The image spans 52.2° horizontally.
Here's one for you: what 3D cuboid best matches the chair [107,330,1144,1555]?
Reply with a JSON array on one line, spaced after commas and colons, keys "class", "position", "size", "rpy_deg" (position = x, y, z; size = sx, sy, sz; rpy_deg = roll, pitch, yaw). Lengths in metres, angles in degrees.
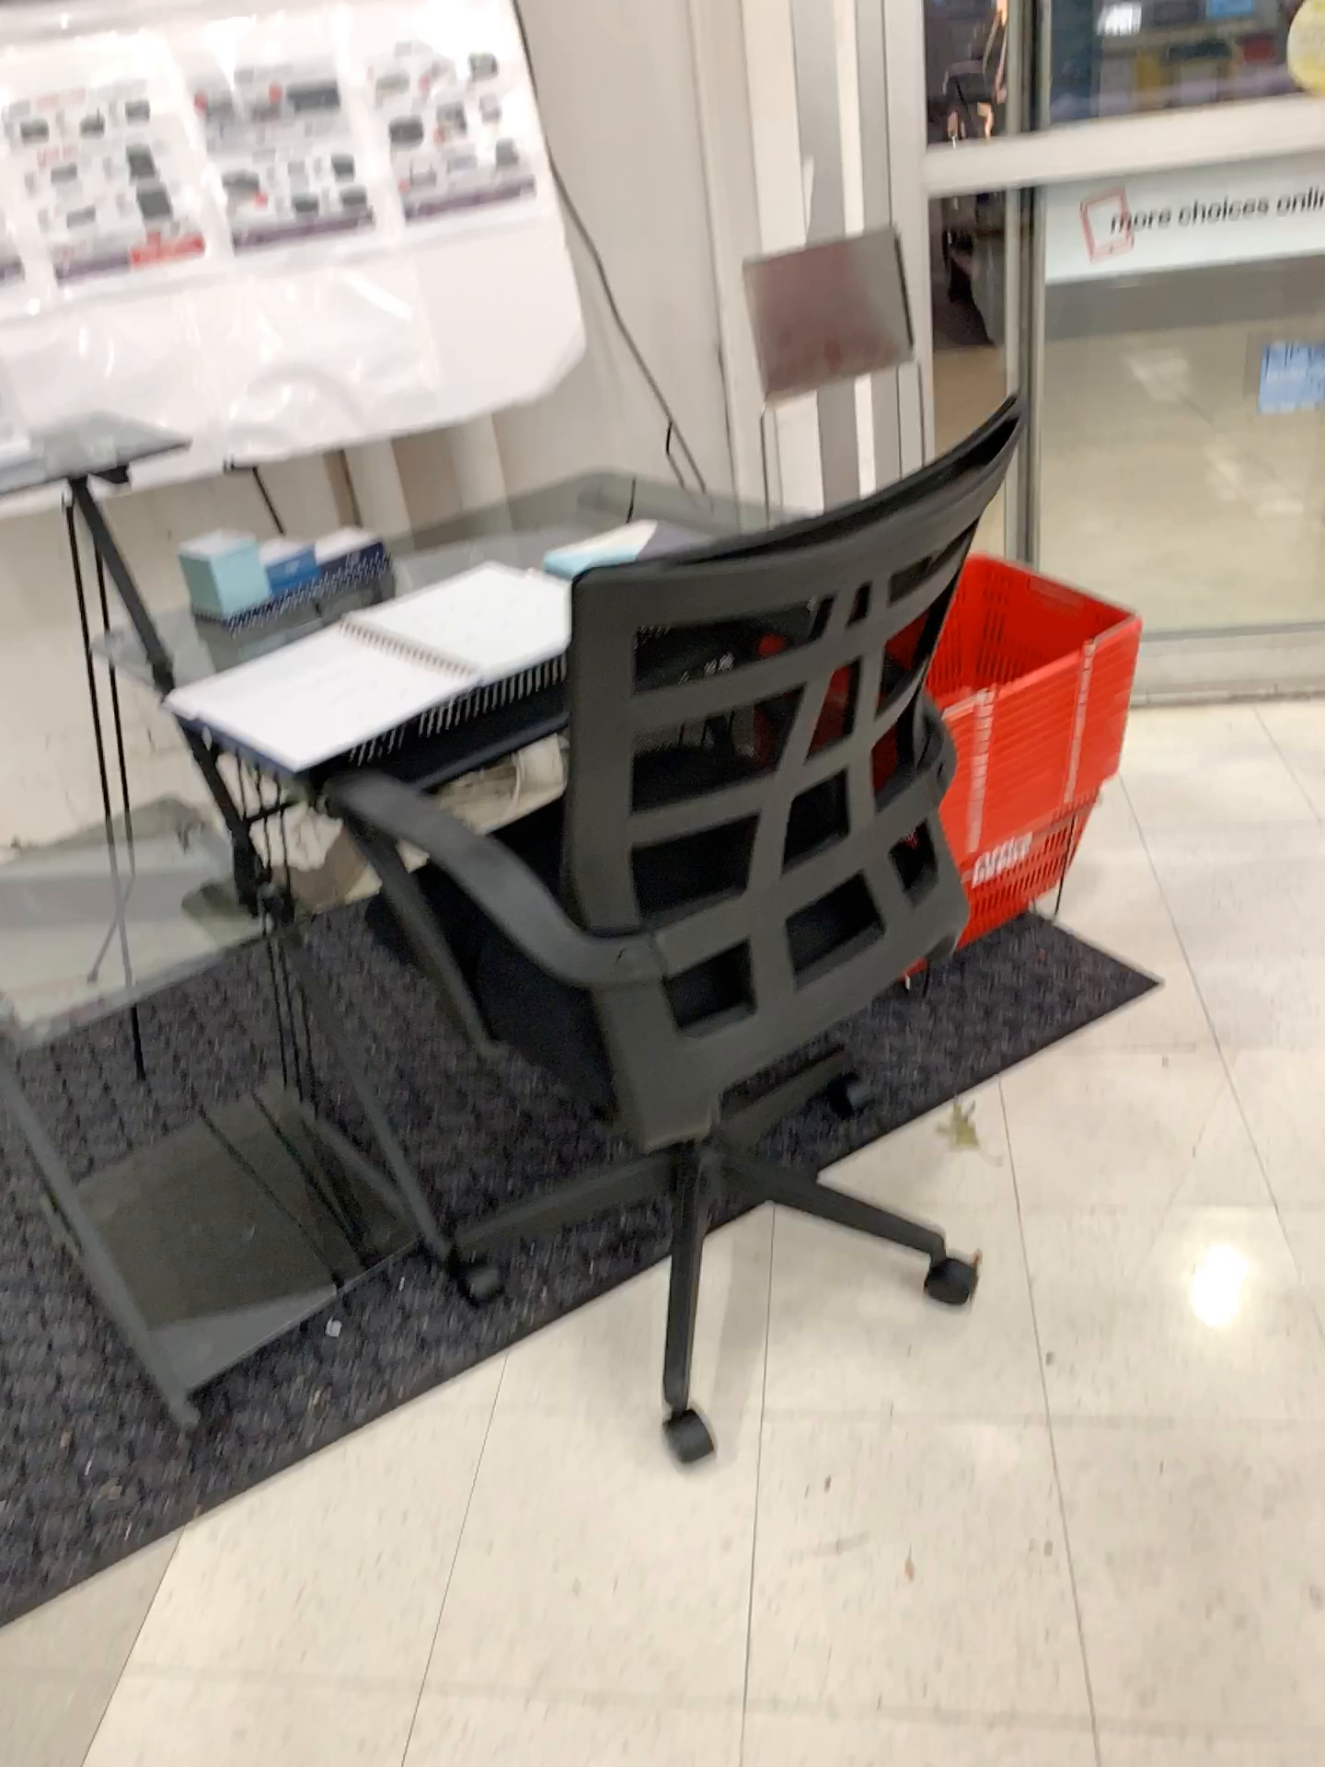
[{"class": "chair", "position": [0.002, -0.010, 1.428], "size": [0.615, 0.942, 0.696], "rpy_deg": [-31, 37, -33]}]
